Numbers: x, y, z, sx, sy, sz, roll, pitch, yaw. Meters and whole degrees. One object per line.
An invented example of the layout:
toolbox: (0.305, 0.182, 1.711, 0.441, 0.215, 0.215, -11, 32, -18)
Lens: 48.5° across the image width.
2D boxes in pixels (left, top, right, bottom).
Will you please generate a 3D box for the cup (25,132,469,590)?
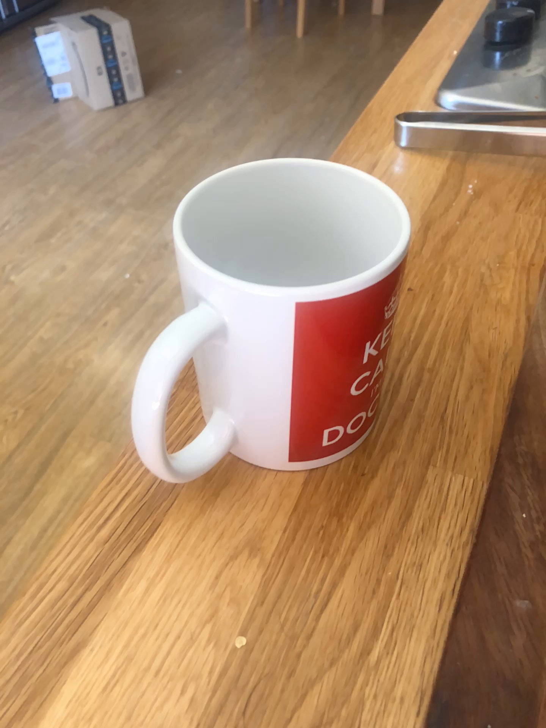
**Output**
cup: (-0.003, -0.008, 0.233, 0.089, 0.094, 0.124, 28, 53, 22)
